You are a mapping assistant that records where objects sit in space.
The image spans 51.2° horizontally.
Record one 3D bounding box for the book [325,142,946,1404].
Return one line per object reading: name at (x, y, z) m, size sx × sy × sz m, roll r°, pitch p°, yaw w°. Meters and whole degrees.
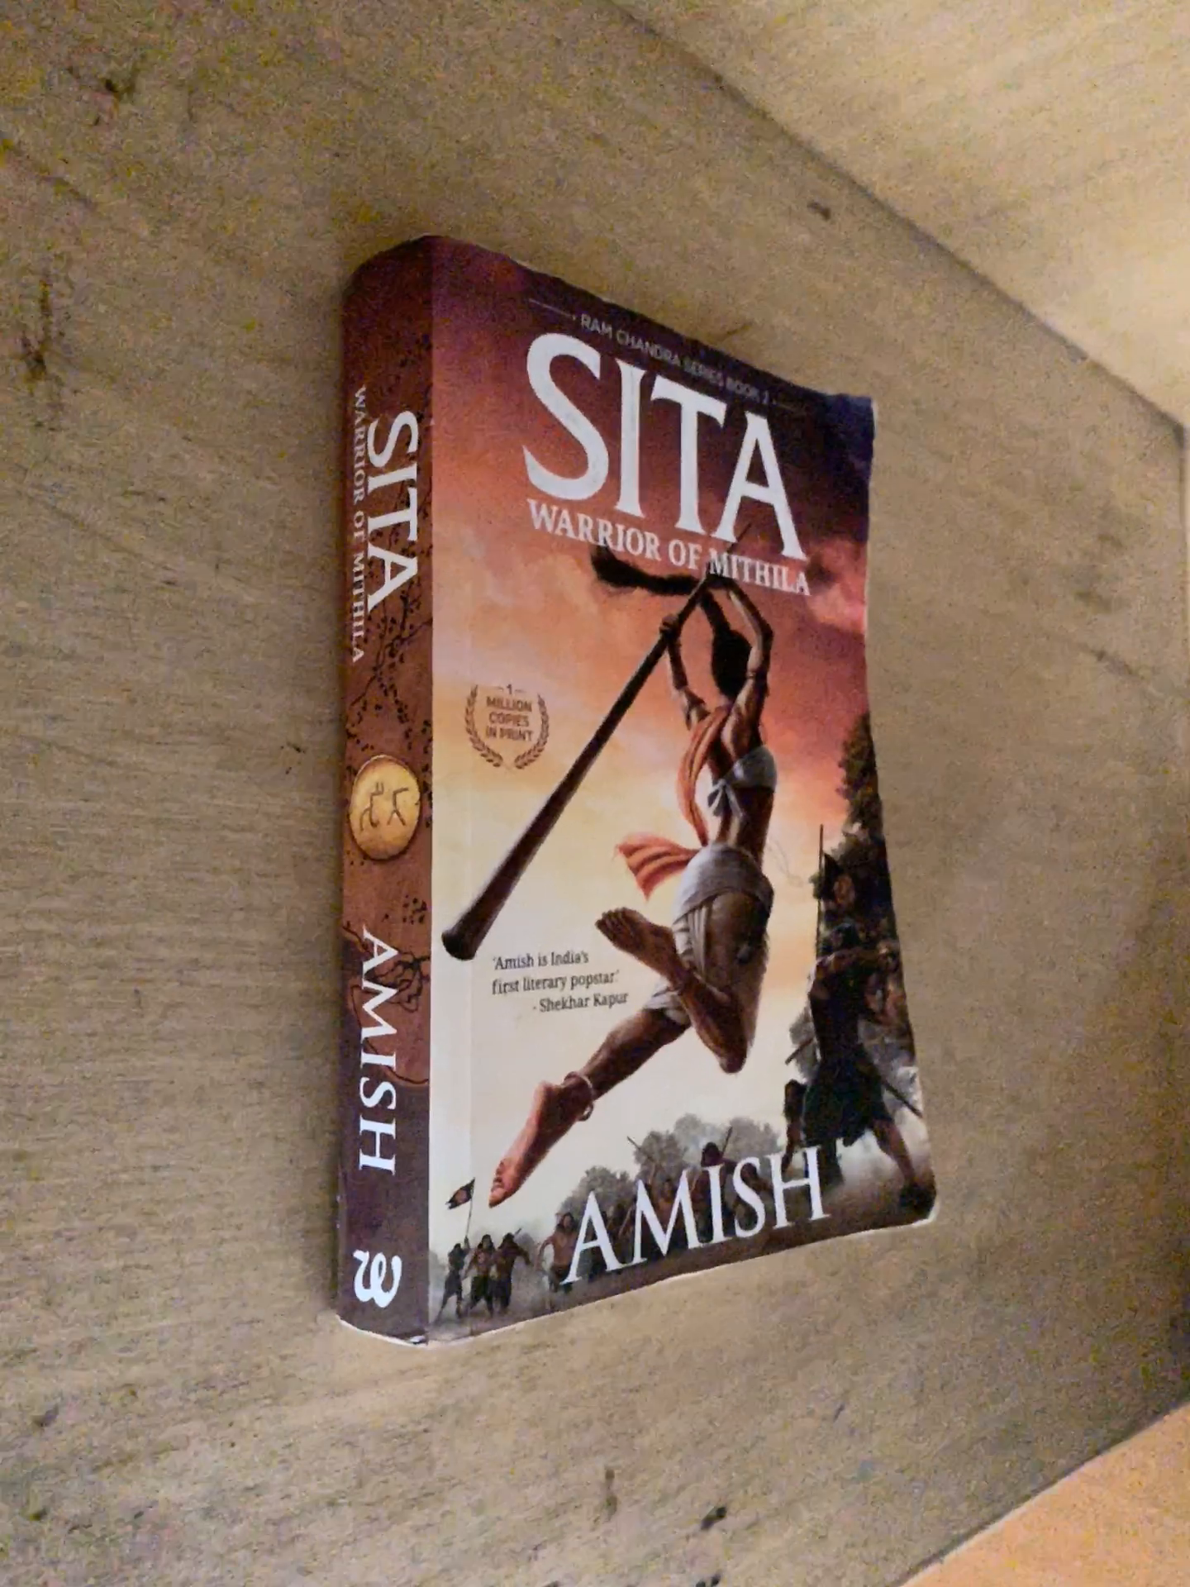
book at (0.016, -0.003, 0.254) m, size 0.141 × 0.030 × 0.200 m, roll 3°, pitch 84°, yaw -41°
